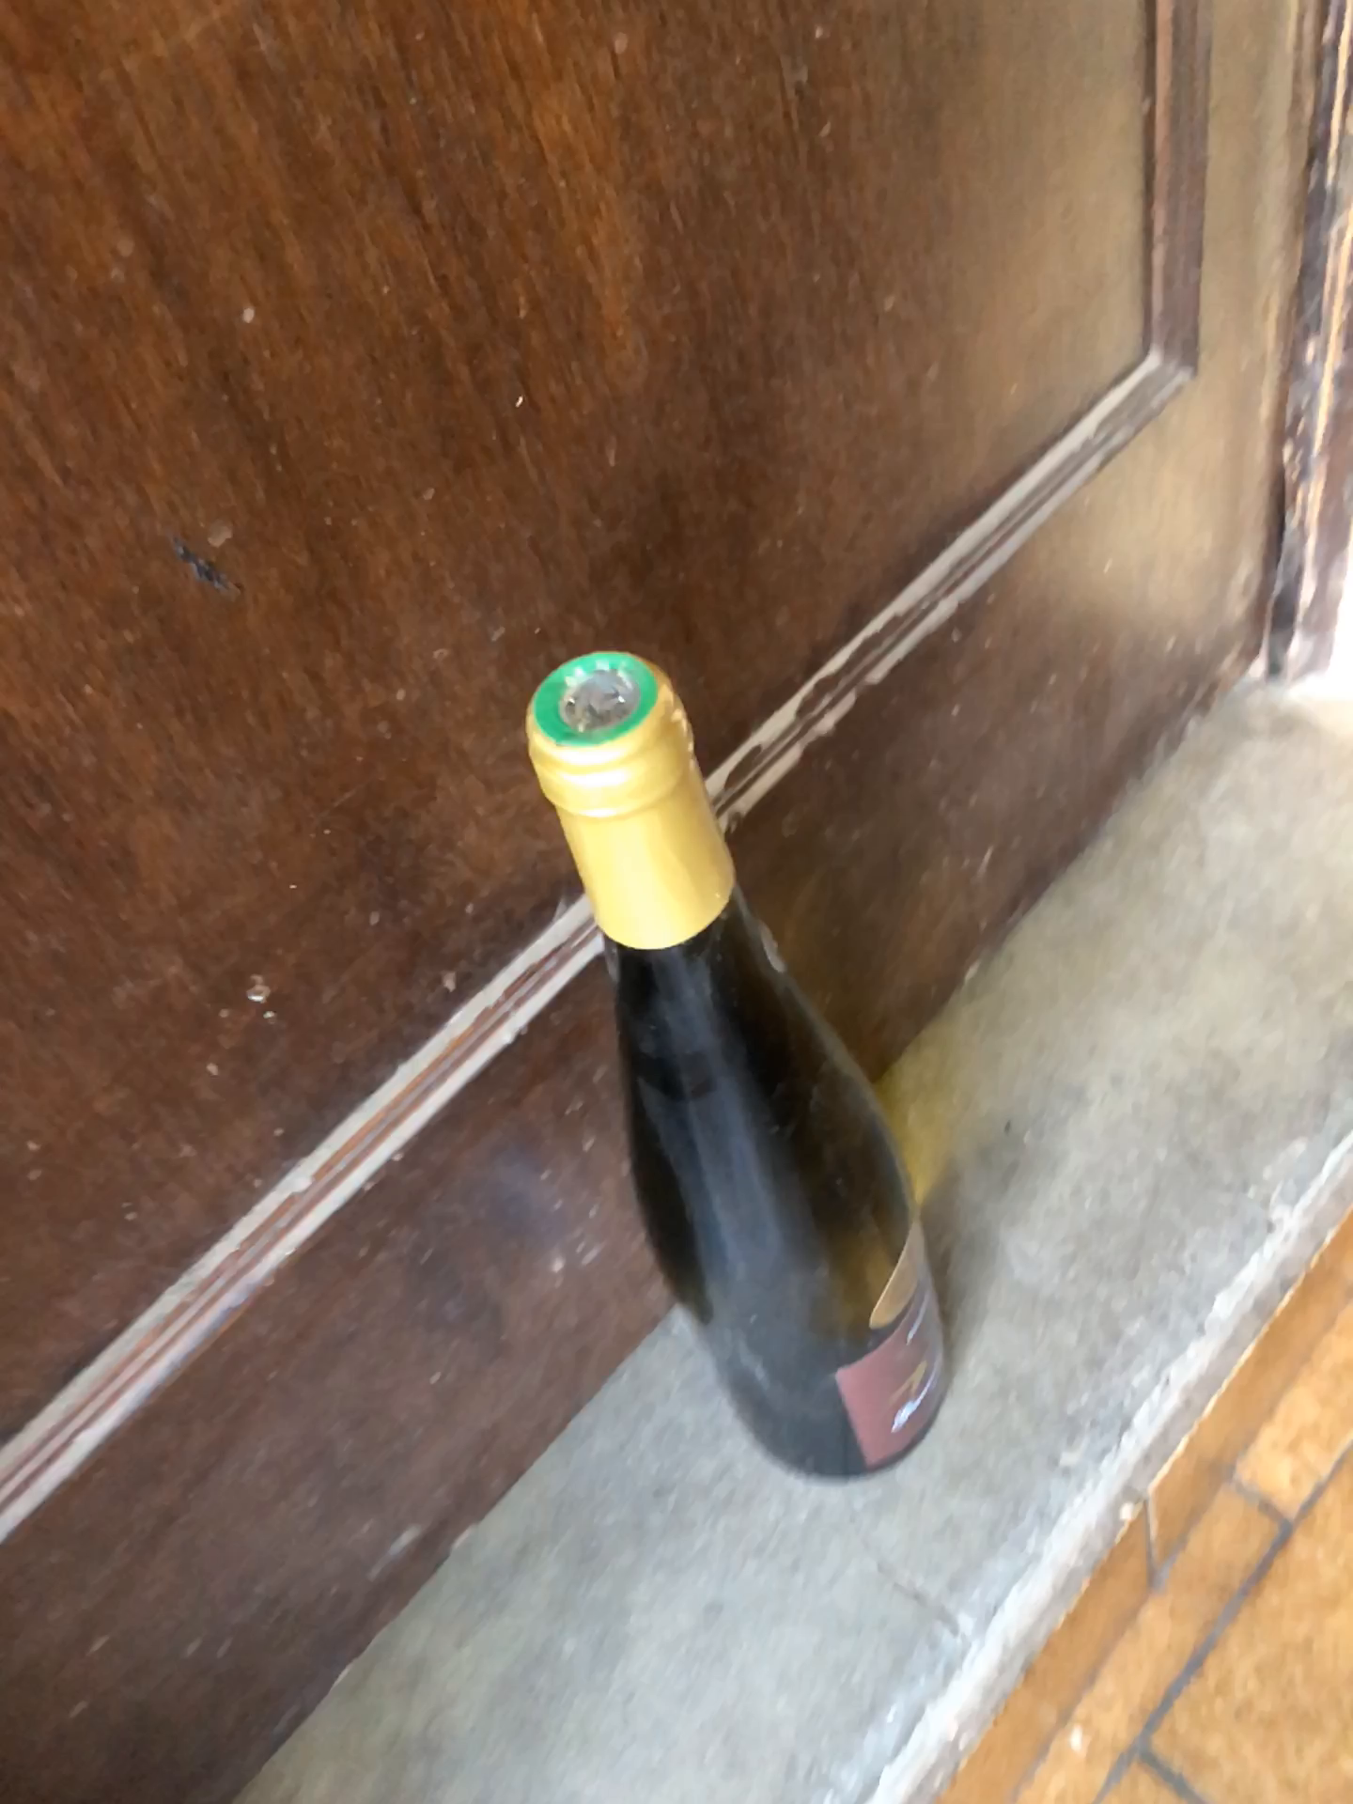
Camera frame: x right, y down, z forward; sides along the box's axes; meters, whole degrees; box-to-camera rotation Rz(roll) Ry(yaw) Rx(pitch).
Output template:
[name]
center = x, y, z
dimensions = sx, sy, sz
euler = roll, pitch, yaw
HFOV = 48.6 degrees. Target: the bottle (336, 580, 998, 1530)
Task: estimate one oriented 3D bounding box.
[bottle]
center = 0.026, 0.065, 0.378
dimensions = 0.080, 0.308, 0.080
euler = -8, 51, 10
